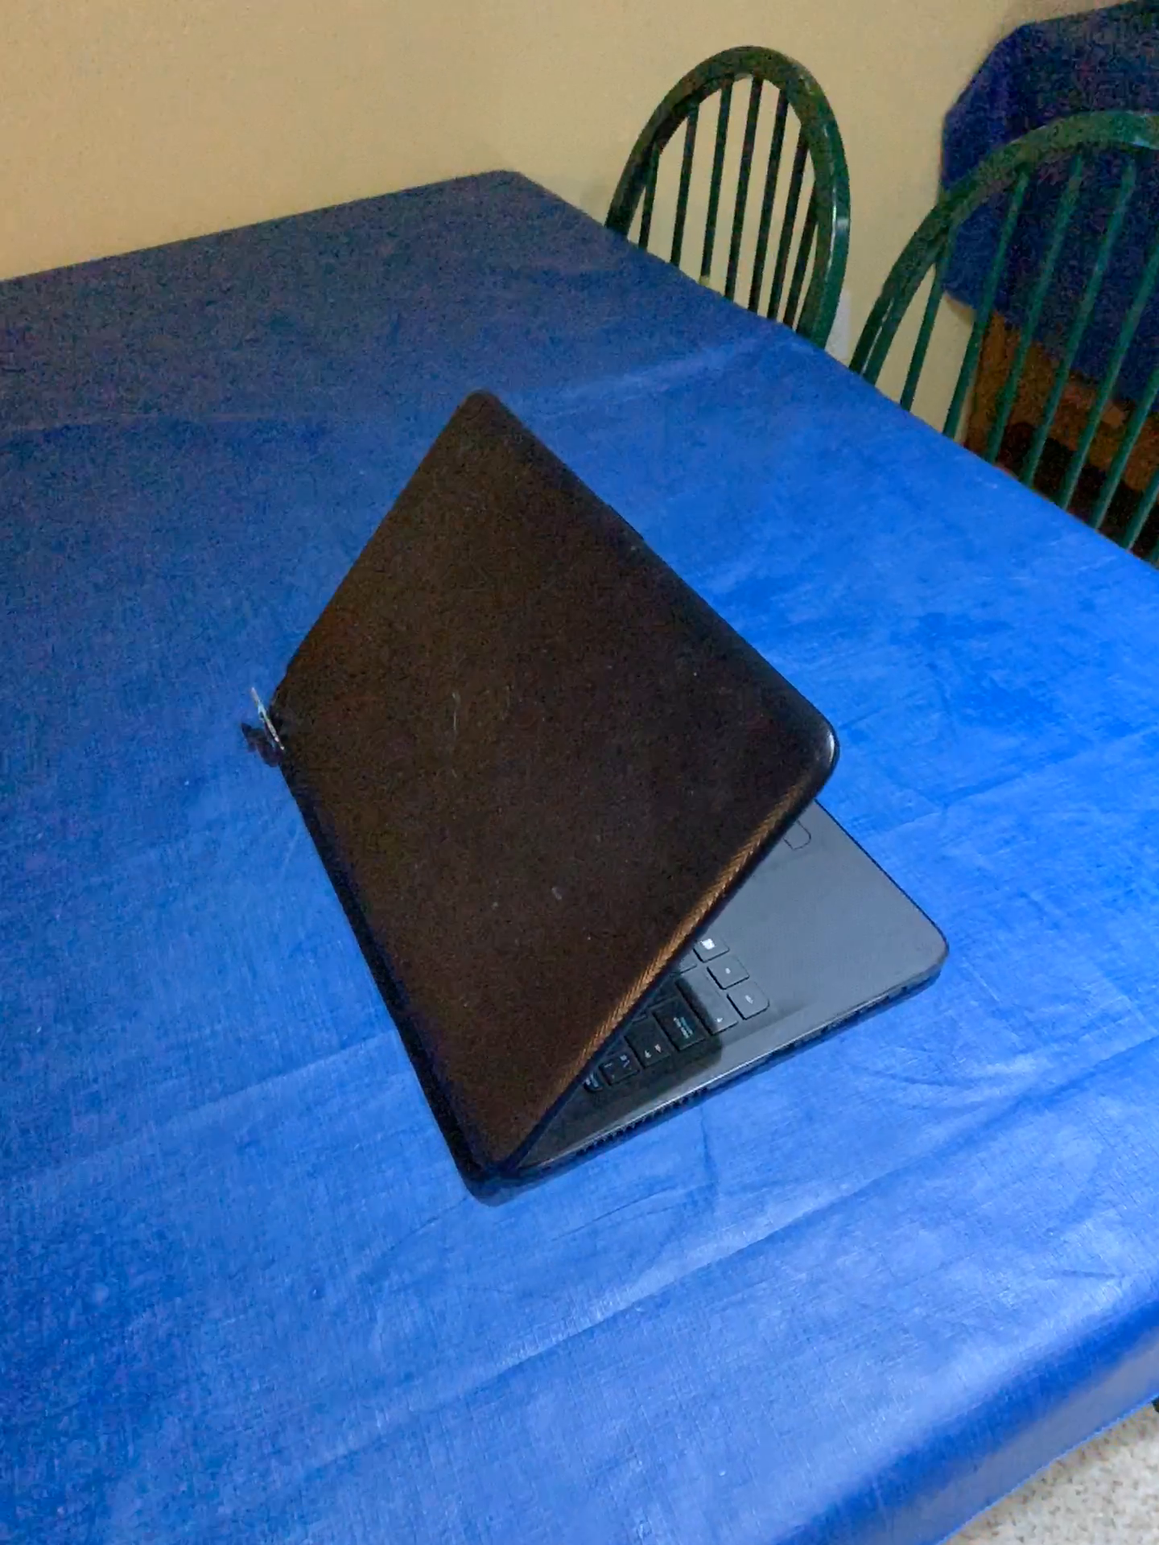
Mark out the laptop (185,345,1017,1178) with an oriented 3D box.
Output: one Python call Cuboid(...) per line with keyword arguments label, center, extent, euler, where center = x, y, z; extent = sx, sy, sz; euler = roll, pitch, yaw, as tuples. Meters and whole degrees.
Cuboid(label="laptop", center=(-0.015, -0.043, 0.610), extent=(0.252, 0.167, 0.373), euler=(-21, 45, -17))
